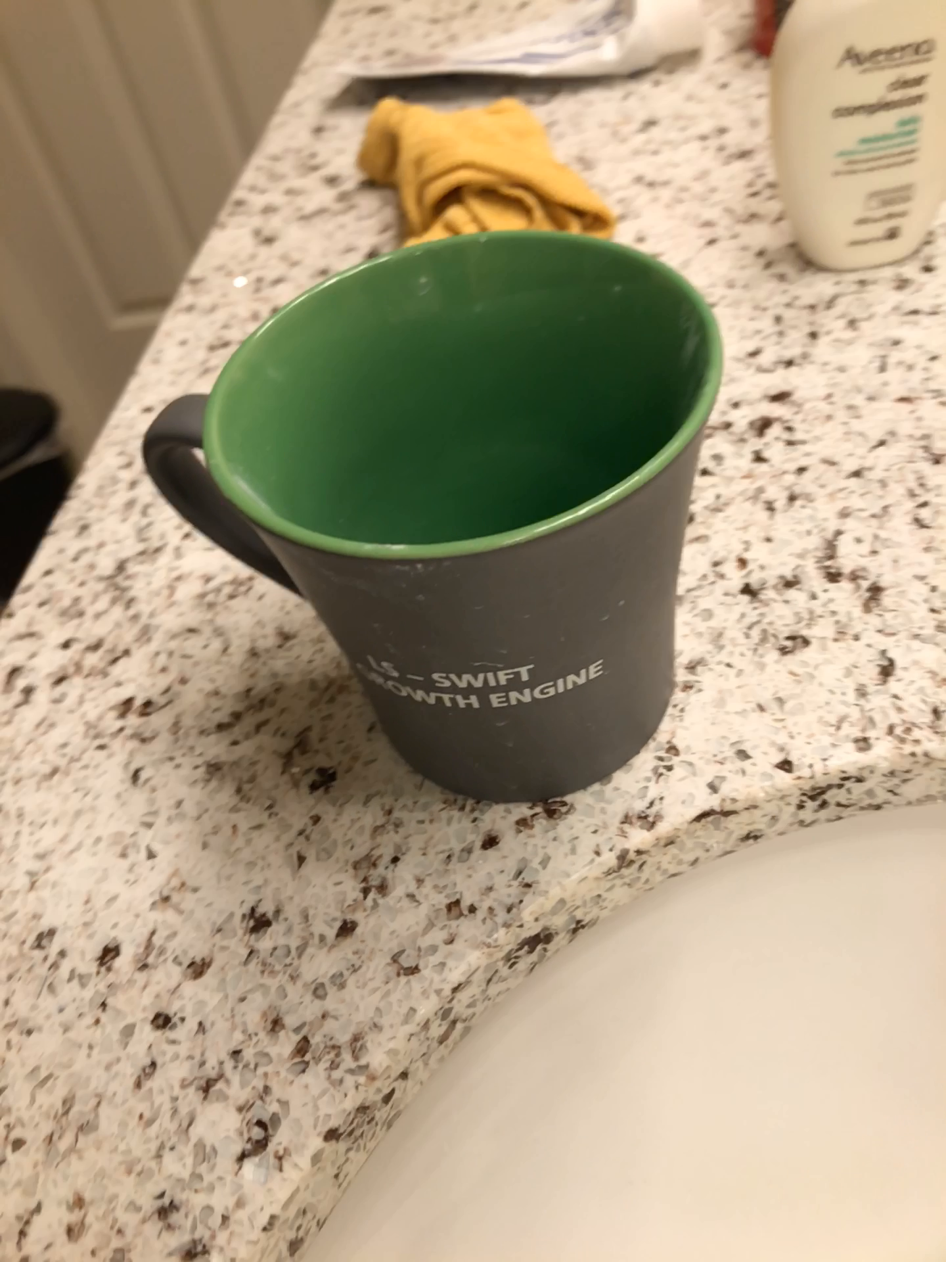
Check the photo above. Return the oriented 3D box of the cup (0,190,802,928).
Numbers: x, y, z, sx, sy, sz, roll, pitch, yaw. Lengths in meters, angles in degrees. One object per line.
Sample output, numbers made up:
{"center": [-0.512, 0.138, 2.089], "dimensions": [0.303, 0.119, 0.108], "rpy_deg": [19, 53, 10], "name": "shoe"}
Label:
{"center": [-0.006, -0.016, 0.230], "dimensions": [0.140, 0.109, 0.101], "rpy_deg": [4, 50, 16], "name": "cup"}
